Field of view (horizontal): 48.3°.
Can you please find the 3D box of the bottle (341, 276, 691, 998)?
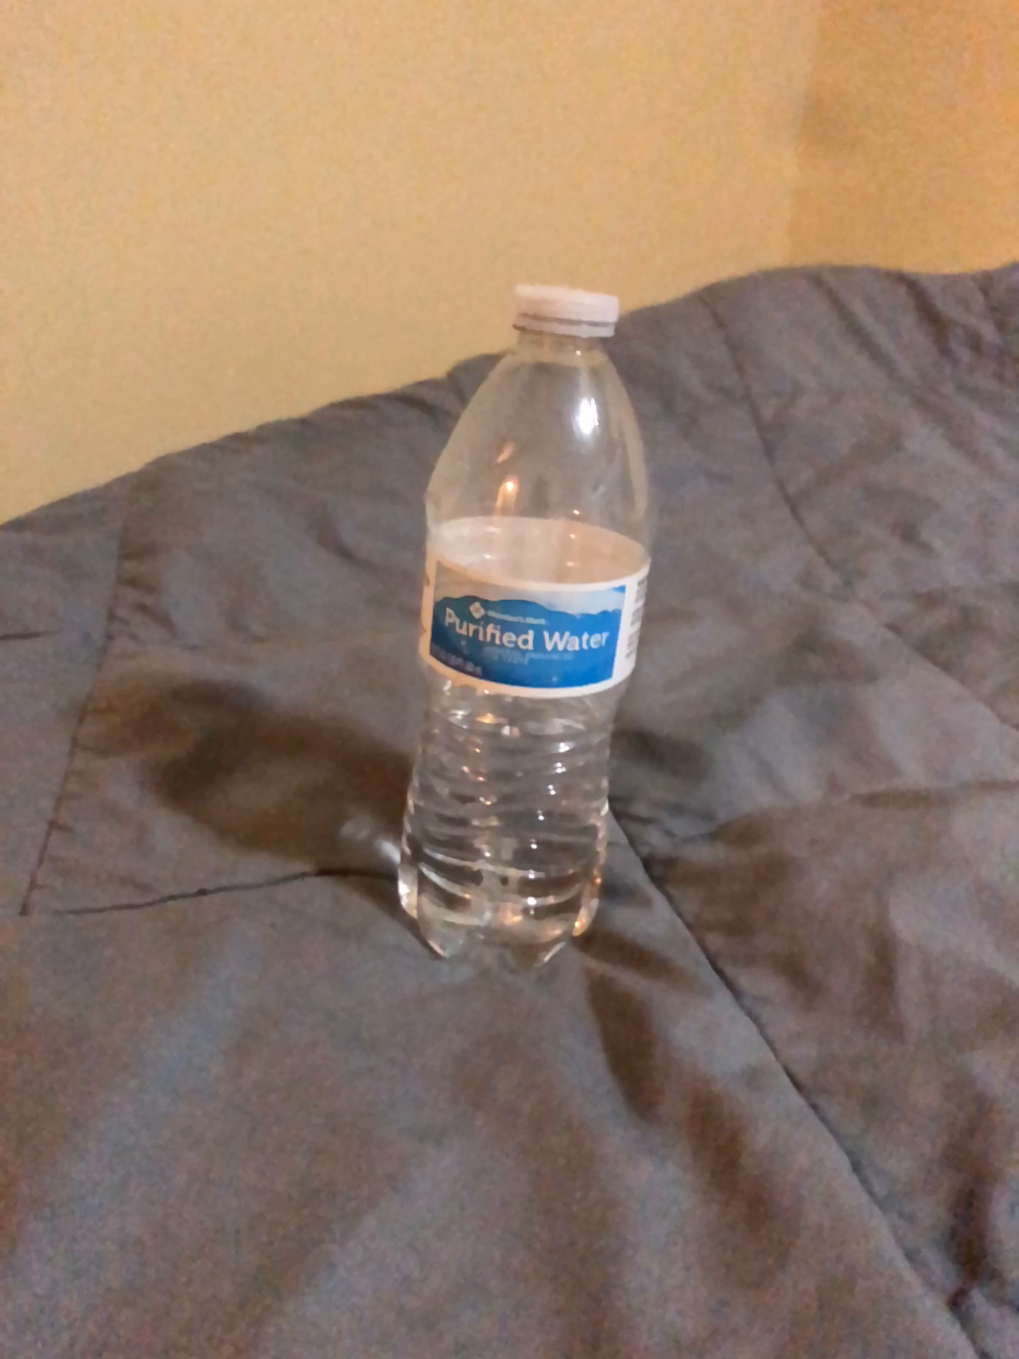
[{"bbox_3d":[0.000,-0.014,0.334,0.080,0.190,0.080,3,22,-1],"label":"bottle"}]
